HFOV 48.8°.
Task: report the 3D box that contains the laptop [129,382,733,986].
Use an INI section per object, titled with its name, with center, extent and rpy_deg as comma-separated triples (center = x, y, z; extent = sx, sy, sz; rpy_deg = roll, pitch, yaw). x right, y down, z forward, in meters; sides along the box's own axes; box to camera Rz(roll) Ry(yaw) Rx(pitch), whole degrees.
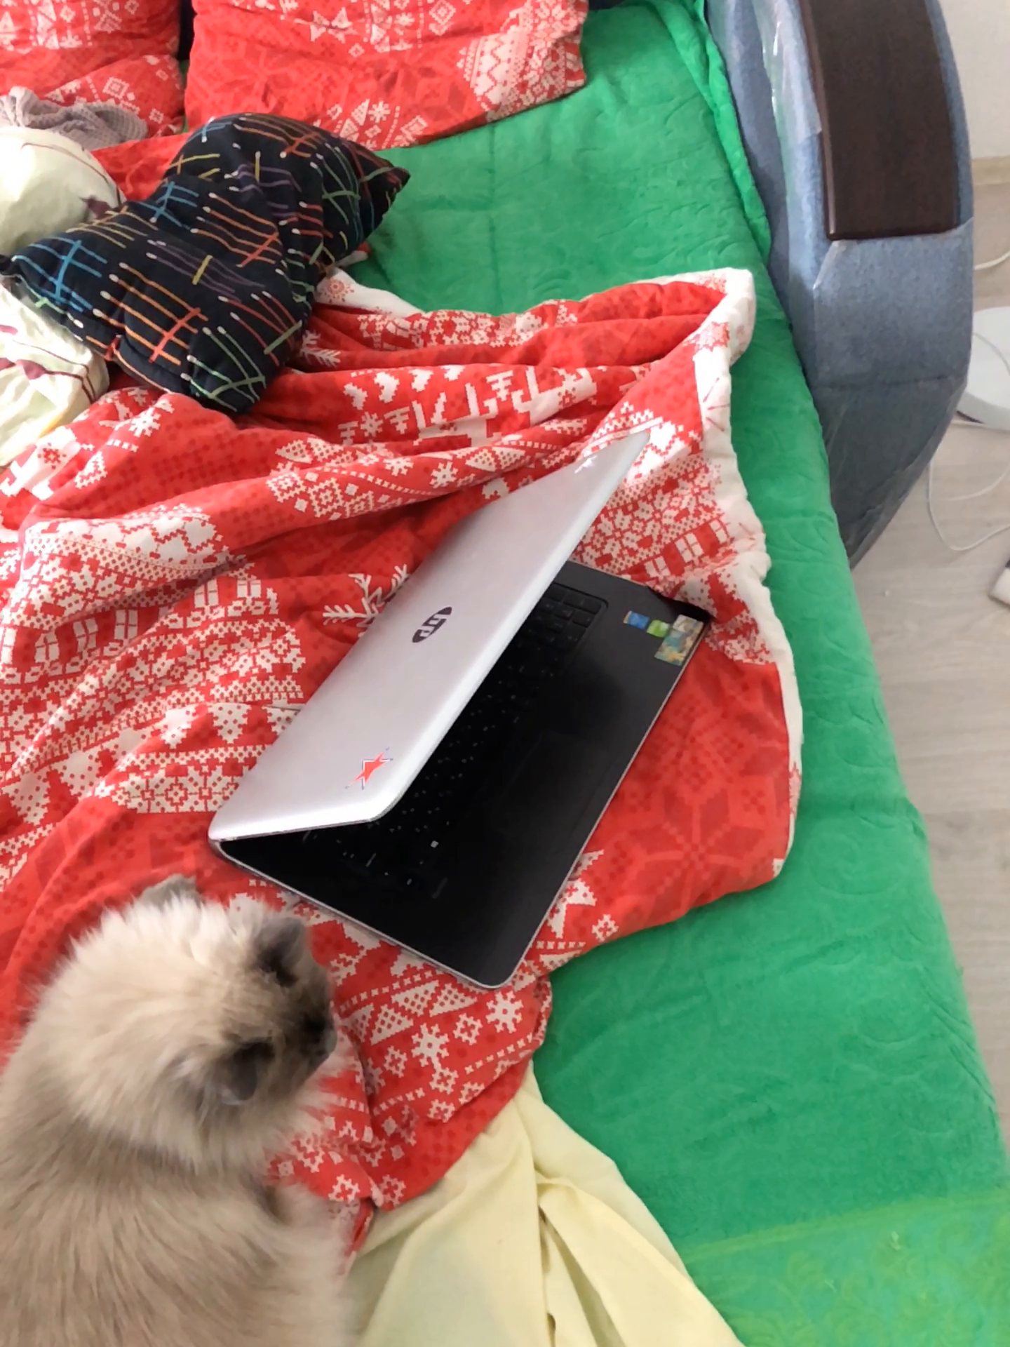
[laptop]
center = -0.031, -0.015, 0.899
extent = 0.276, 0.176, 0.414
rpy_deg = 22, 56, 20
